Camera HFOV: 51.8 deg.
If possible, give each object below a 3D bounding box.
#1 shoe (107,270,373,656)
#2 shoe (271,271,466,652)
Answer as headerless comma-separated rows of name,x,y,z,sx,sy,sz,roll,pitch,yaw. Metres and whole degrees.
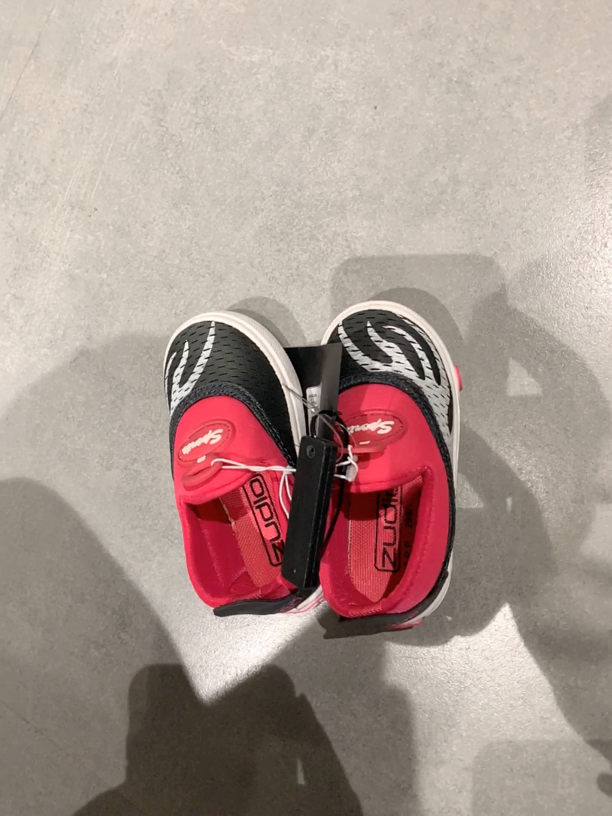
shoe,-0.027,0.023,0.277,0.060,0.060,0.140,-21,81,13
shoe,0.029,0.022,0.270,0.070,0.060,0.140,-3,85,15
